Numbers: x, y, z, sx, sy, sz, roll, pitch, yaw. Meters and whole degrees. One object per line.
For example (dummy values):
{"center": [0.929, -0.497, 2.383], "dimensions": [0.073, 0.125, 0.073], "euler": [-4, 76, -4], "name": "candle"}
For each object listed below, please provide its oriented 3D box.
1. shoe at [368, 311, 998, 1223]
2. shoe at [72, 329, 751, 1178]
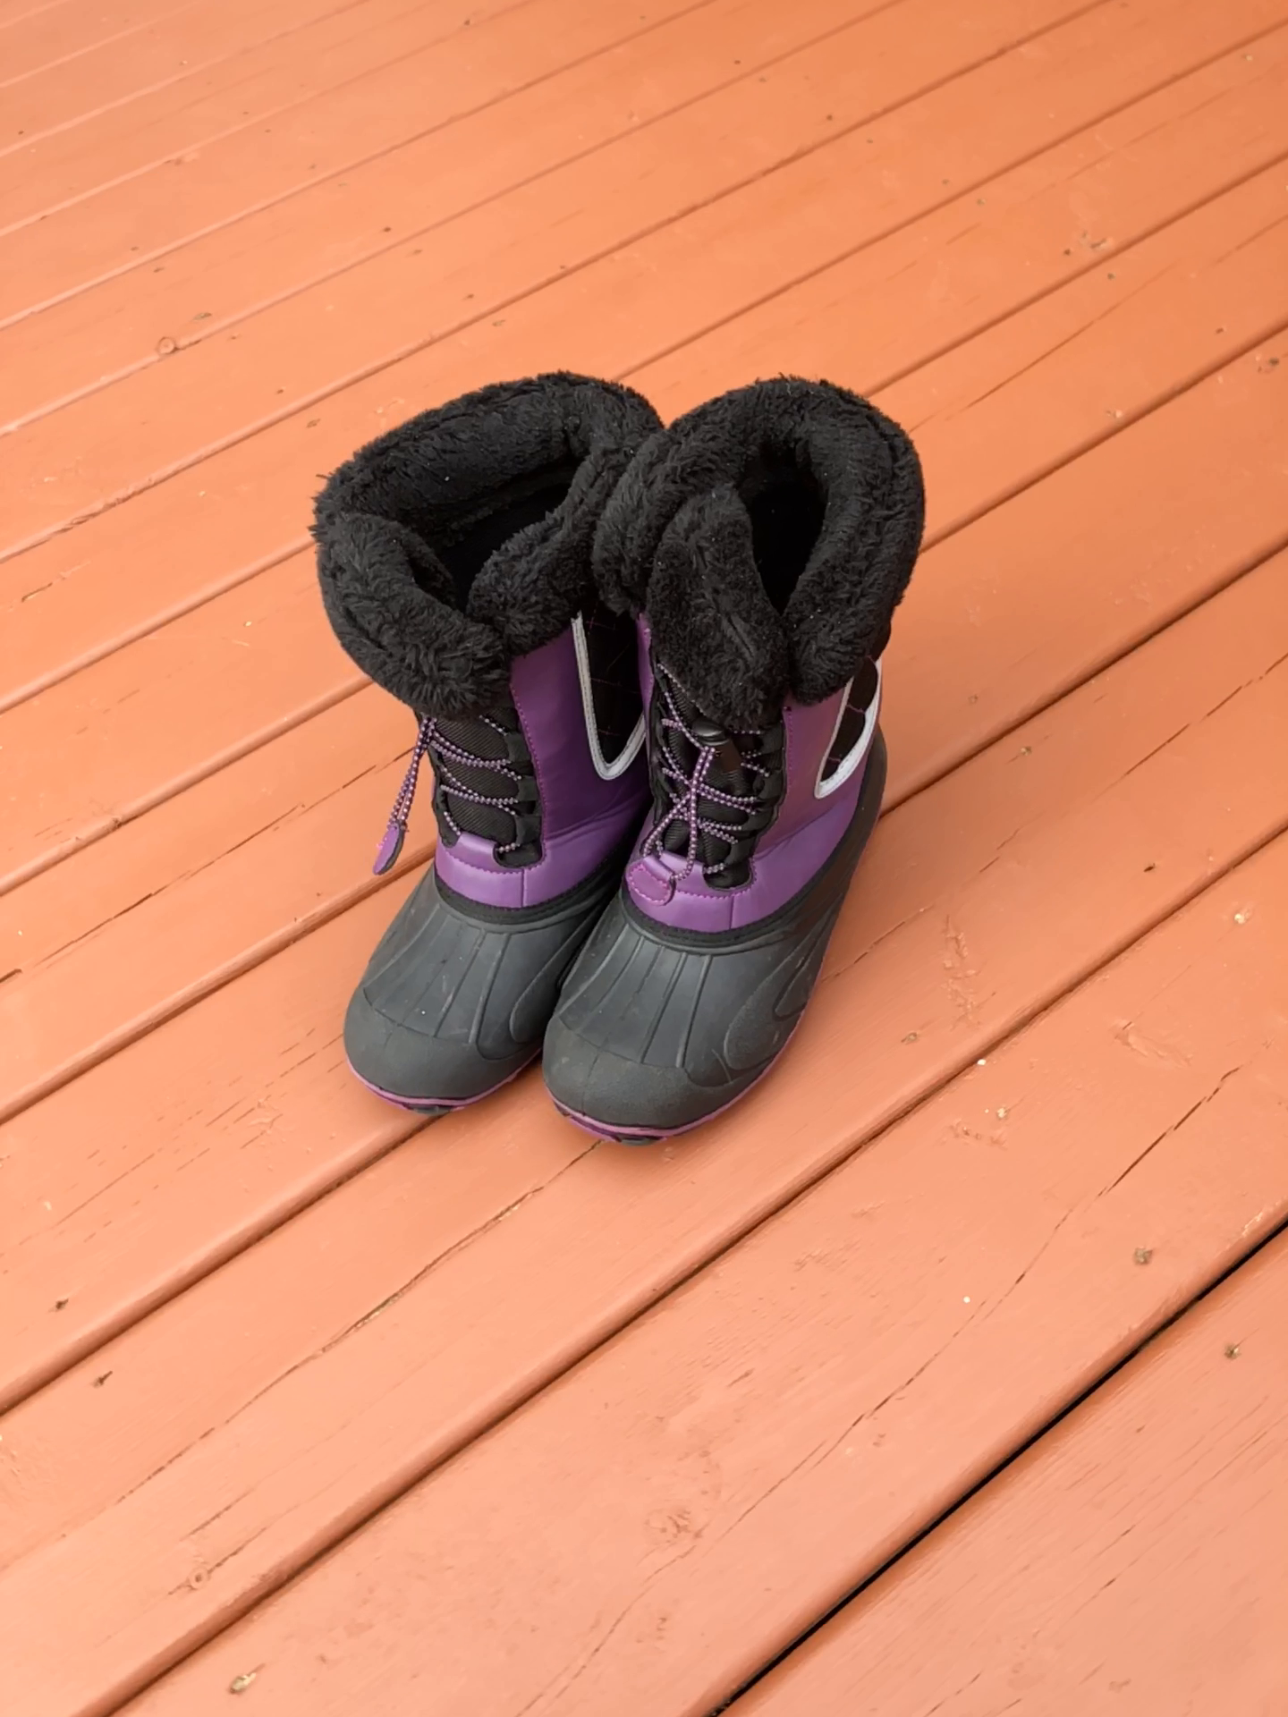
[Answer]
{"center": [0.038, -0.028, 0.602], "dimensions": [0.120, 0.279, 0.240], "euler": [20, 59, 22], "name": "shoe"}
{"center": [-0.072, -0.038, 0.648], "dimensions": [0.120, 0.279, 0.240], "euler": [24, 61, 24], "name": "shoe"}
